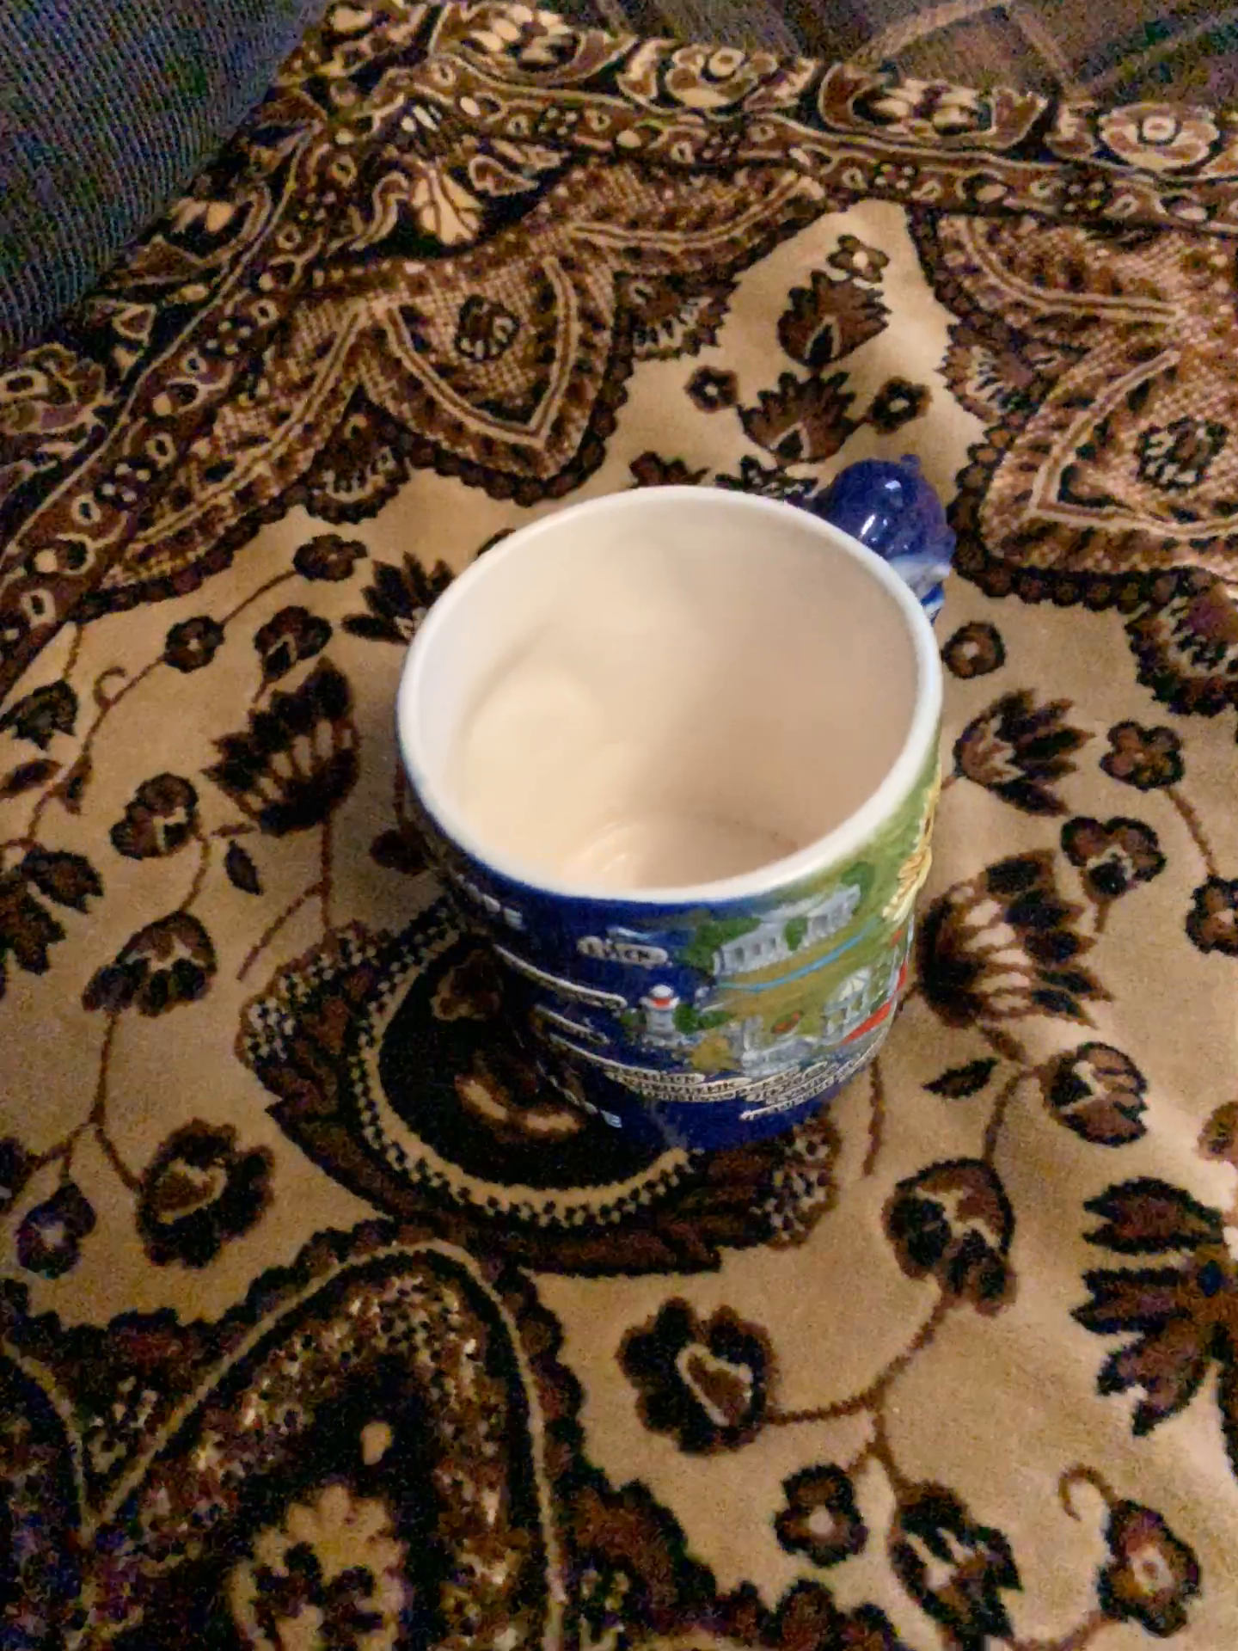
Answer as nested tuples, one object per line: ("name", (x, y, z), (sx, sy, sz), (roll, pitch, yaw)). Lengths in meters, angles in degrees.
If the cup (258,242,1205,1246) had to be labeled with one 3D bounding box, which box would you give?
("cup", (0.025, -0.014, 0.240), (0.090, 0.106, 0.128), (29, 65, 22))
